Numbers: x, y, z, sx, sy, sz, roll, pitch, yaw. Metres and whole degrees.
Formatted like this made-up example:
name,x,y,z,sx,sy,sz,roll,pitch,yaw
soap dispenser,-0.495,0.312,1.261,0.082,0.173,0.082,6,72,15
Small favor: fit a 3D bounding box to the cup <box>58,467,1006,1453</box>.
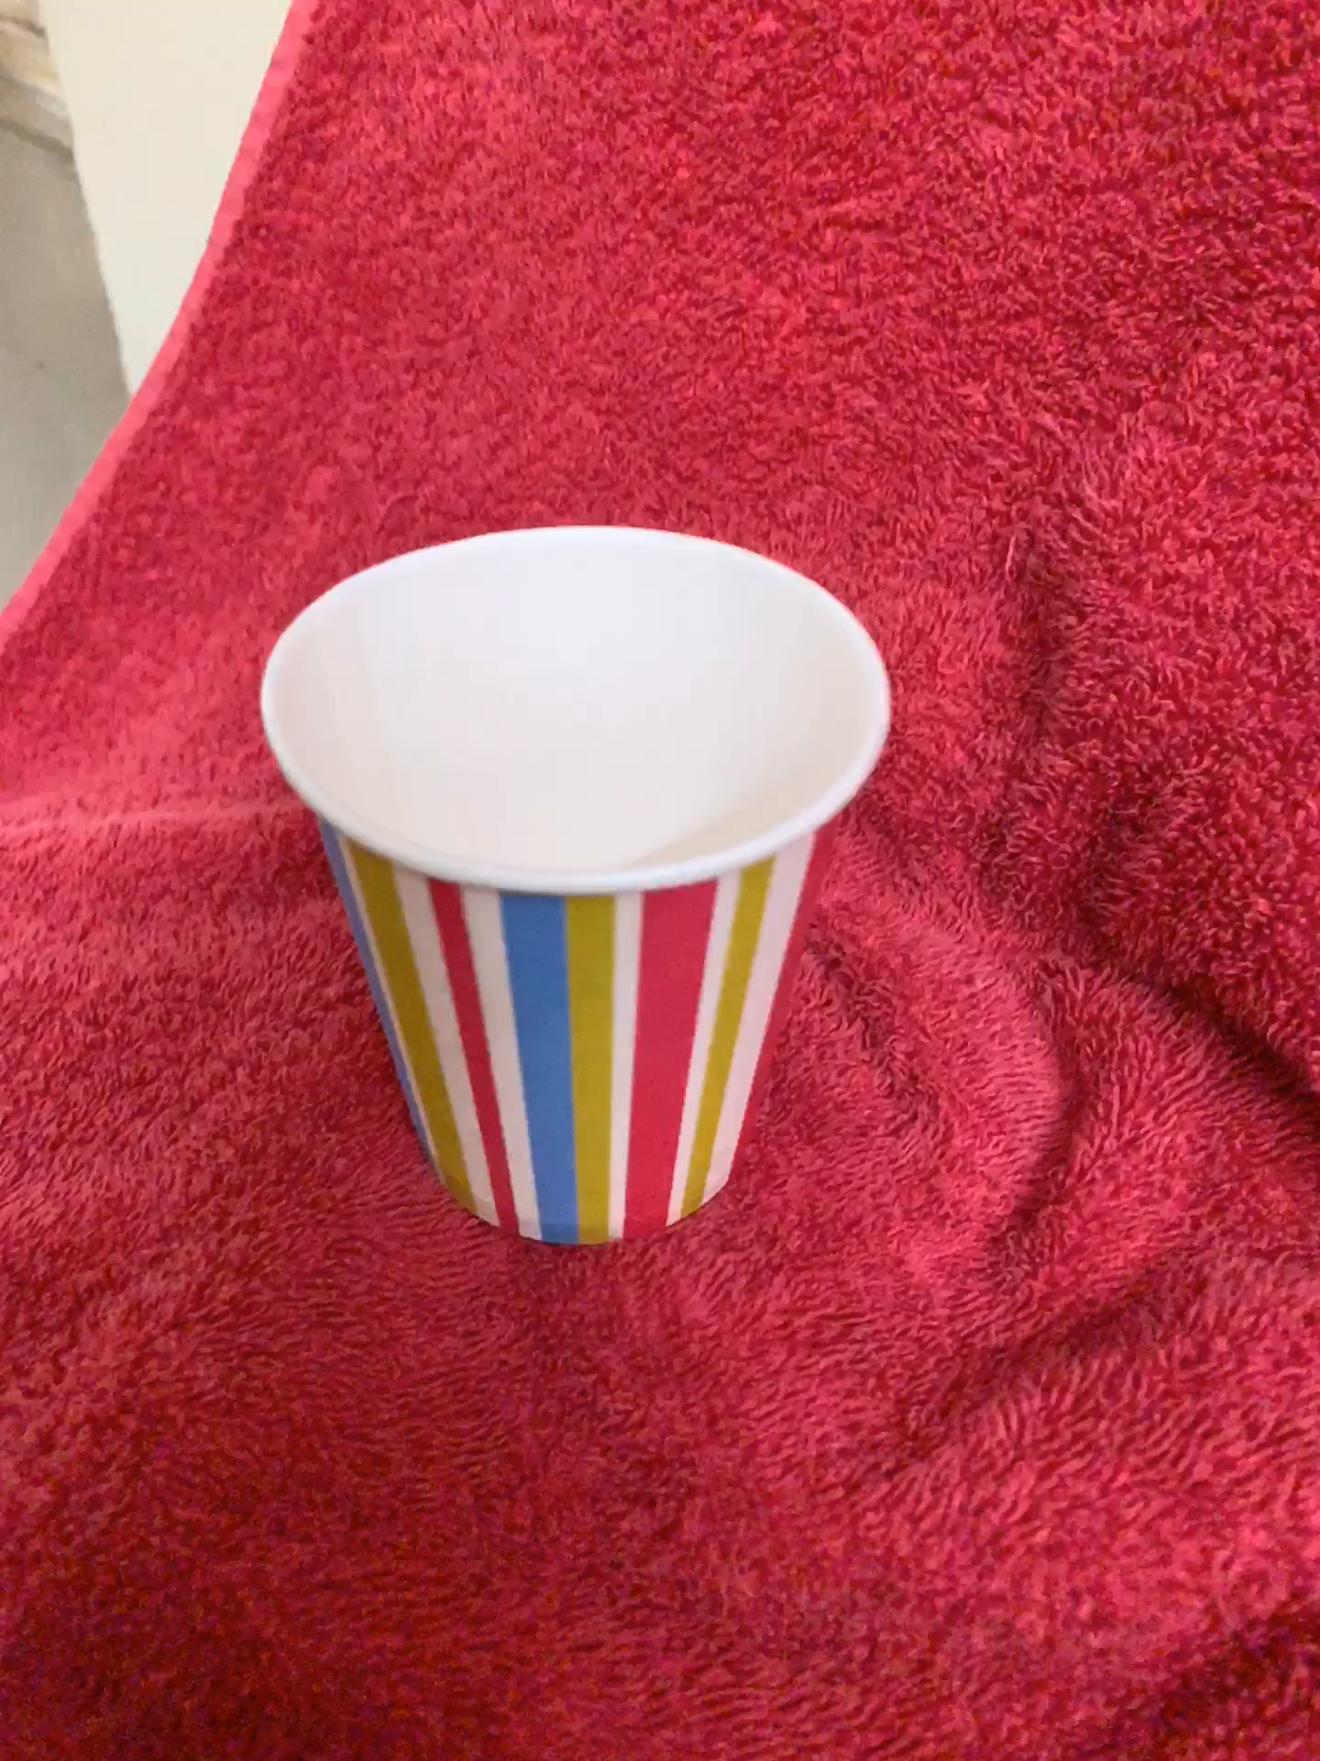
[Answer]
name,x,y,z,sx,sy,sz,roll,pitch,yaw
cup,-0.011,0.005,0.165,0.070,0.069,0.070,1,41,-1
